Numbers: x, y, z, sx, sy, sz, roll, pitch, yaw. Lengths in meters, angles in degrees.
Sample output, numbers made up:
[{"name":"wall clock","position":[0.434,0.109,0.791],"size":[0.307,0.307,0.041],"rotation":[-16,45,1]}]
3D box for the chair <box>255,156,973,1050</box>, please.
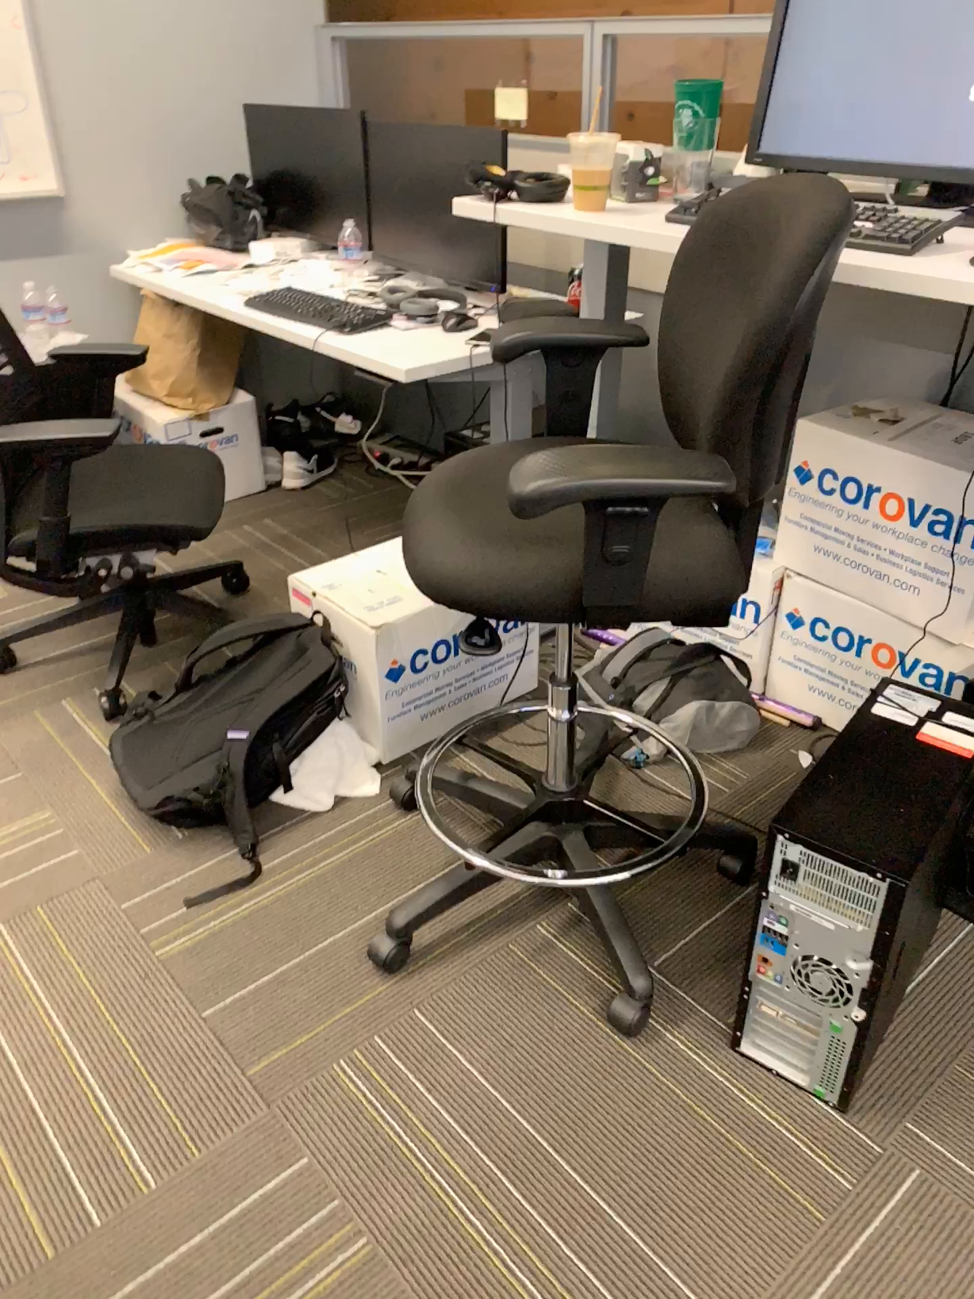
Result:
[{"name":"chair","position":[0.143,-0.096,1.501],"size":[0.770,1.103,0.715],"rotation":[-3,31,-5]}]
